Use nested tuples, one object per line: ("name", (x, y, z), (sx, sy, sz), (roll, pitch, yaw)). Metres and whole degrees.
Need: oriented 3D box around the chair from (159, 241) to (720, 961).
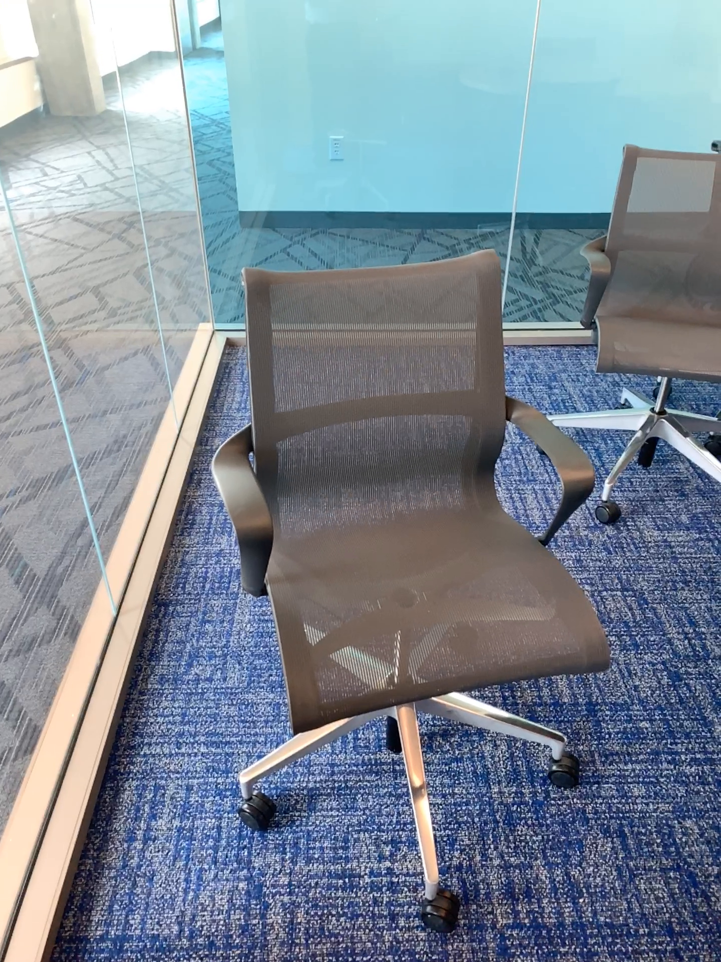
("chair", (0.104, 0.141, 1.110), (0.661, 0.773, 0.645), (-8, 34, -13))
